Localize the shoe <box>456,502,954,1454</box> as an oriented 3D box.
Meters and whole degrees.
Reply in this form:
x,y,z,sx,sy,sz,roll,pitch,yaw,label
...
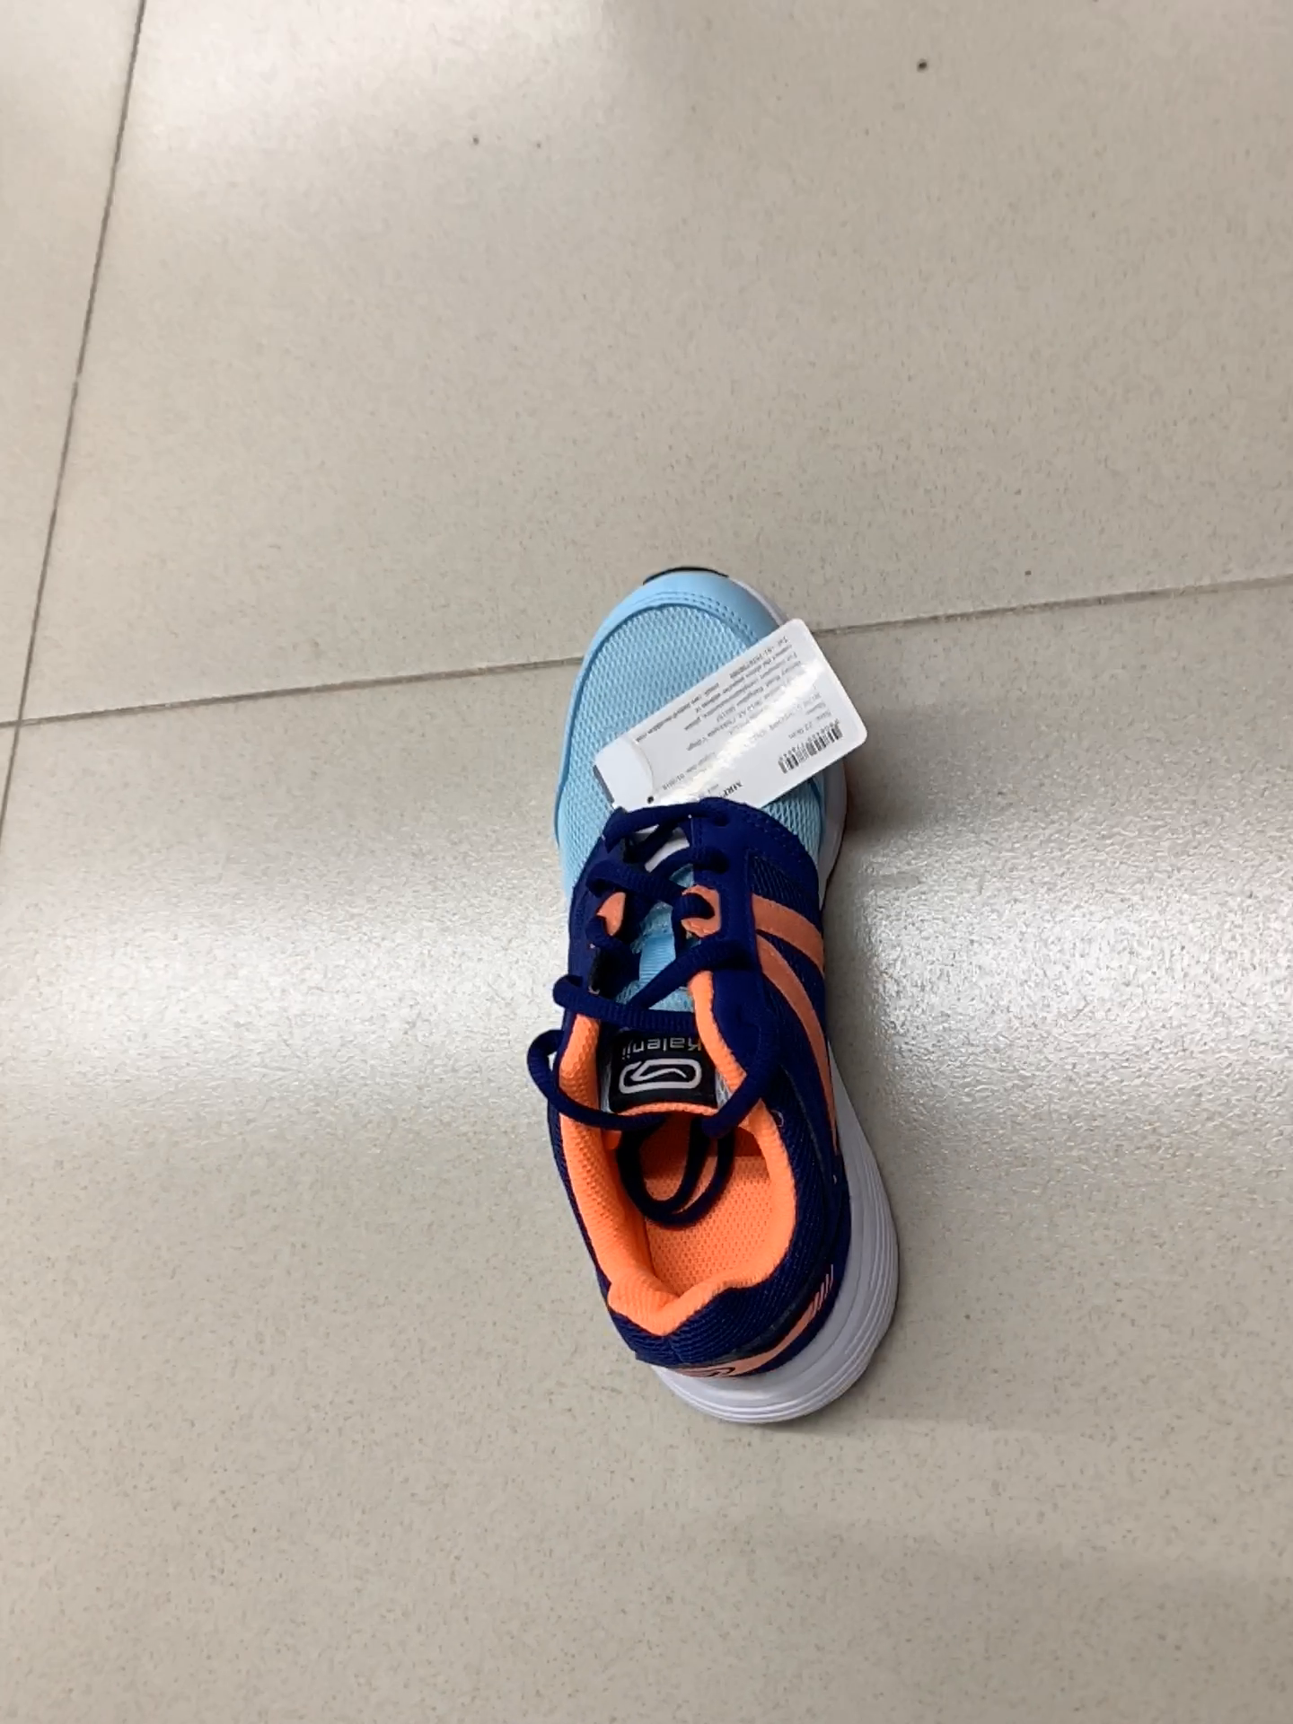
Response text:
x,y,z,sx,sy,sz,roll,pitch,yaw,label
0.014,0.034,0.385,0.100,0.080,0.240,-11,72,19,shoe
